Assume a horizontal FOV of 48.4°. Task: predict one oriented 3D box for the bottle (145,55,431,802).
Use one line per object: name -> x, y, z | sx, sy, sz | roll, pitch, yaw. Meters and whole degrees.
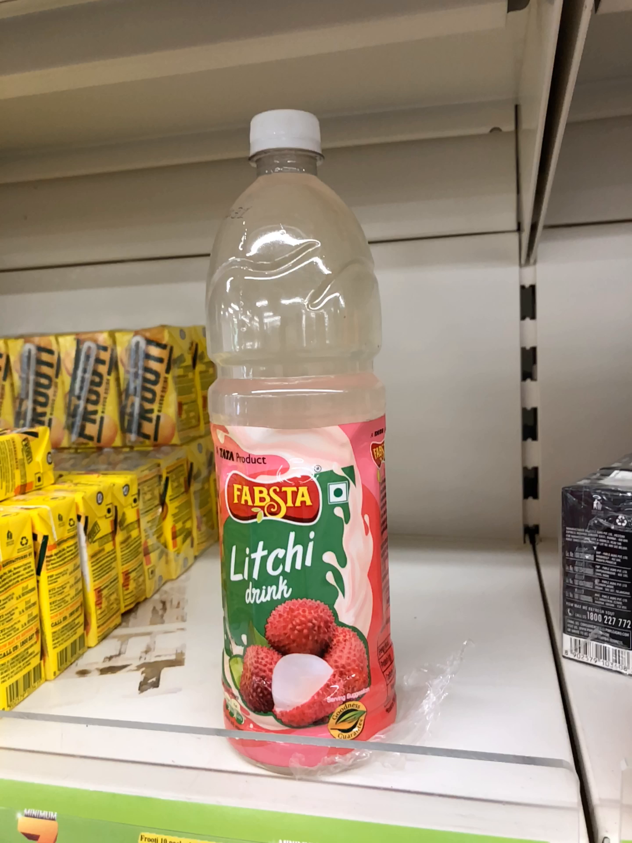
bottle -> -0.005, 0.006, 0.299 | 0.080, 0.269, 0.070 | 0, 9, 25
